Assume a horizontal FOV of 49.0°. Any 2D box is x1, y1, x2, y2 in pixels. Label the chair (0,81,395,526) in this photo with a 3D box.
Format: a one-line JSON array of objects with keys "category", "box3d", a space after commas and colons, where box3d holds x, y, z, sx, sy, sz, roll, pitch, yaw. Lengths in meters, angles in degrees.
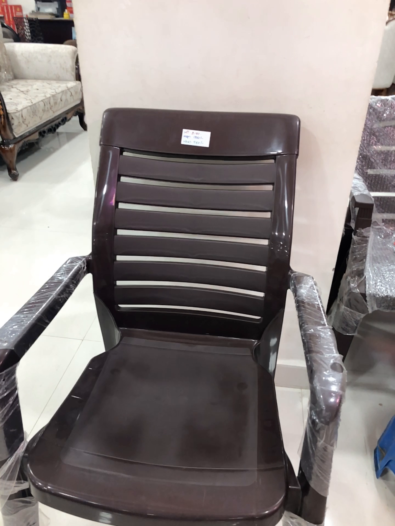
[{"category": "chair", "box3d": [-0.040, 0.203, 0.932, 0.640, 1.004, 0.674, 5, 29, 5]}]
